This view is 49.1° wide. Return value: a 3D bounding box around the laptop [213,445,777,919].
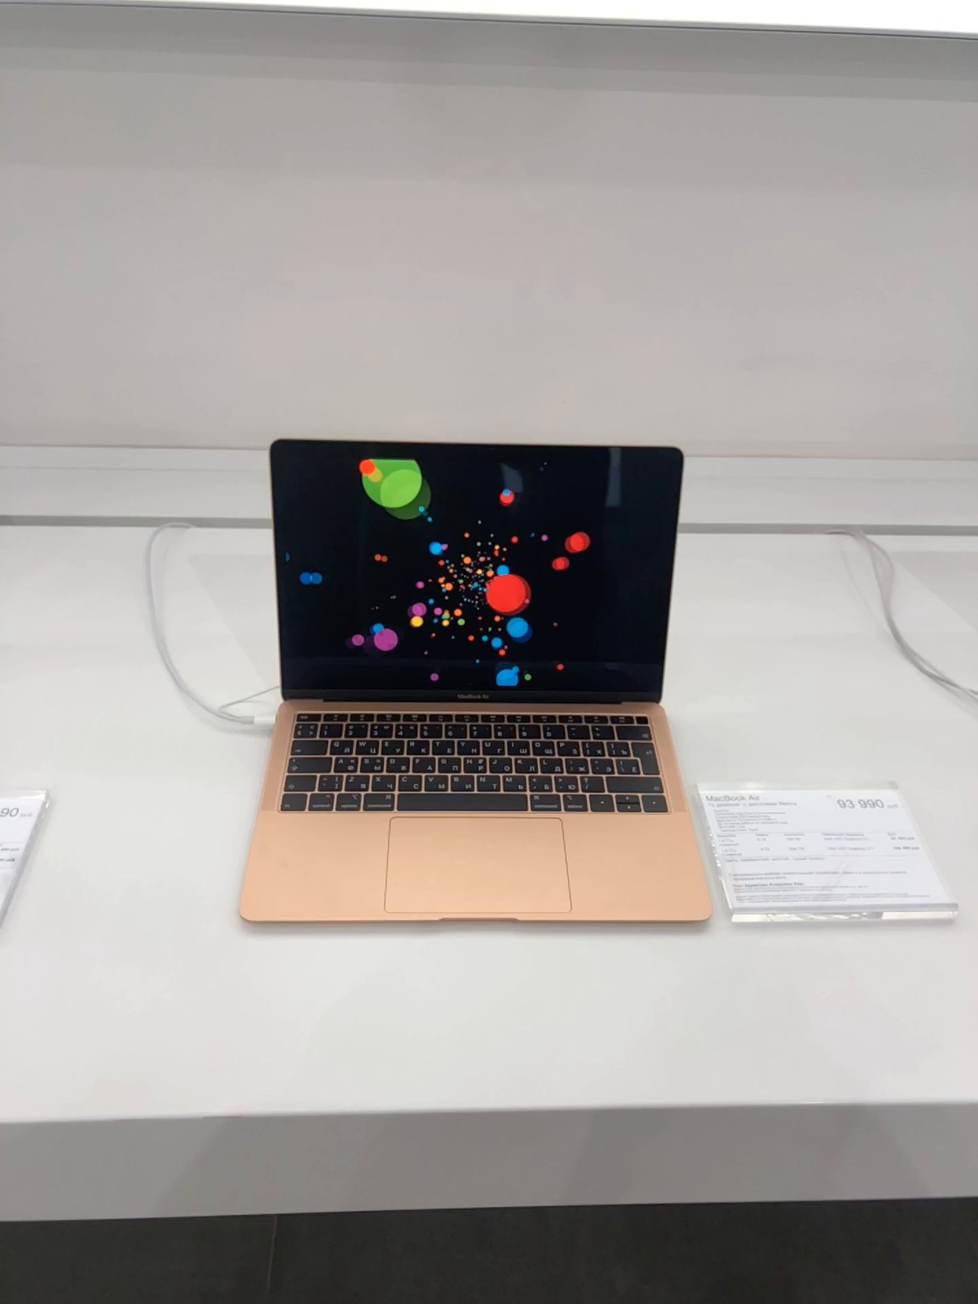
[{"bbox_3d":[0.000,0.011,0.723,0.297,0.188,0.265,1,37,-2],"label":"laptop"}]
